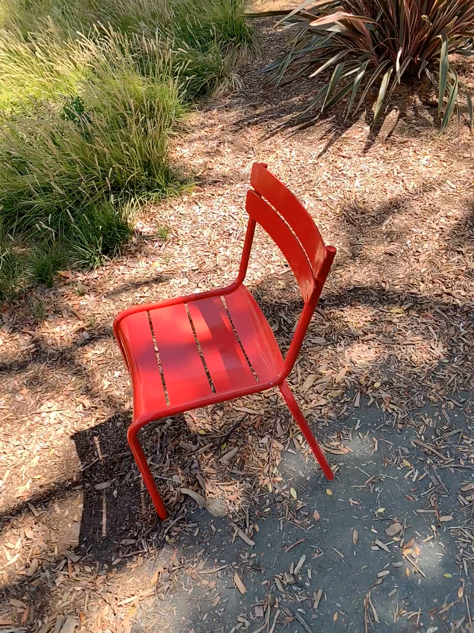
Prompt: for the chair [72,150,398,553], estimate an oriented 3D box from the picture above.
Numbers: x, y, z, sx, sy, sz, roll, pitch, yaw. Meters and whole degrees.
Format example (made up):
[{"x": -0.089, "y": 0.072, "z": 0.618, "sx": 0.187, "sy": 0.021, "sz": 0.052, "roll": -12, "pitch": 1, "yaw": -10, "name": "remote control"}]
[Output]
[{"x": -0.059, "y": 0.074, "z": 1.313, "sx": 0.570, "sy": 0.785, "sz": 0.614, "roll": -11, "pitch": 40, "yaw": -13, "name": "chair"}]
